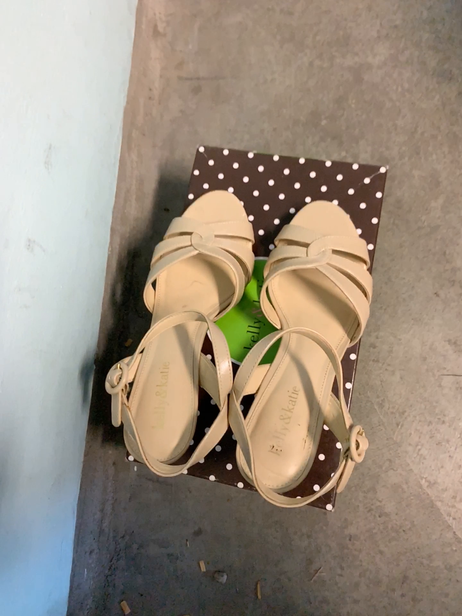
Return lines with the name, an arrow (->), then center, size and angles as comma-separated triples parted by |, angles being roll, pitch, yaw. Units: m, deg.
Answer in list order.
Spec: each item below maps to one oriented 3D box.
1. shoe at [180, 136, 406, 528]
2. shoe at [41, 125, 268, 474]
shoe -> 0.052, 0.013, 0.361 | 0.100, 0.110, 0.240 | 11, 81, 13
shoe -> -0.048, -0.007, 0.394 | 0.100, 0.110, 0.240 | 11, 81, 13
